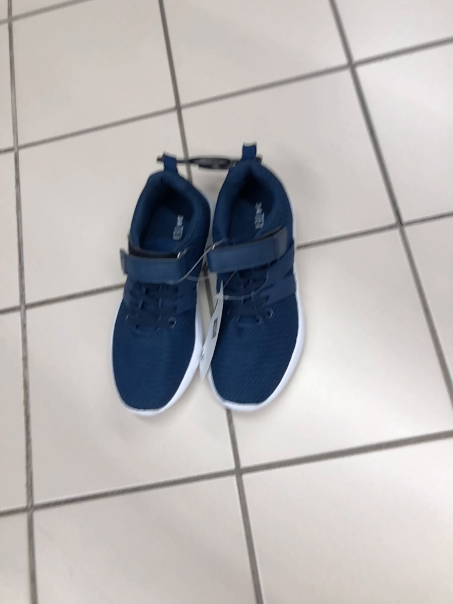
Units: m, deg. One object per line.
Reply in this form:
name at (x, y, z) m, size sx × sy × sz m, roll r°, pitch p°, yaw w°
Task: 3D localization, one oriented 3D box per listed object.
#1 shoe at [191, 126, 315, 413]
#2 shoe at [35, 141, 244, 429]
shoe at (0.025, -0.025, 0.455) m, size 0.093 × 0.095 × 0.238 m, roll -3°, pitch 73°, yaw 8°
shoe at (-0.068, -0.014, 0.467) m, size 0.102 × 0.094 × 0.236 m, roll 12°, pitch 75°, yaw 12°
